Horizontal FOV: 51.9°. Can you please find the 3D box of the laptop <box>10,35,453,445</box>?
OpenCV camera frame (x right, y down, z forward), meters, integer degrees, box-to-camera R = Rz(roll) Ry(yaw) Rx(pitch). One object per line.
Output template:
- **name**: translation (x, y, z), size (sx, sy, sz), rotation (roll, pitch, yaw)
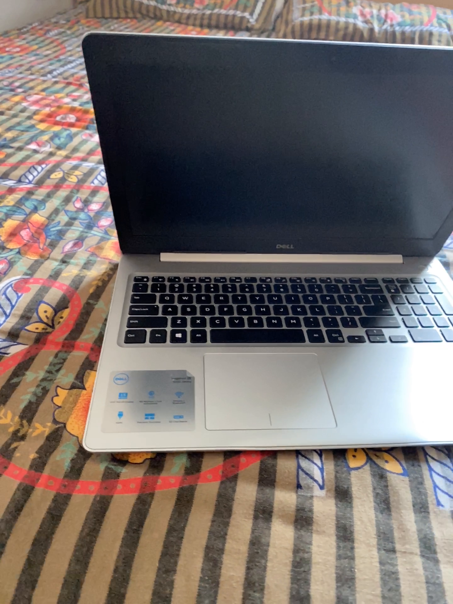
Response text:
- **laptop**: translation (0.077, -0.047, 0.368), size (0.373, 0.231, 0.211), rotation (0, 41, -4)
